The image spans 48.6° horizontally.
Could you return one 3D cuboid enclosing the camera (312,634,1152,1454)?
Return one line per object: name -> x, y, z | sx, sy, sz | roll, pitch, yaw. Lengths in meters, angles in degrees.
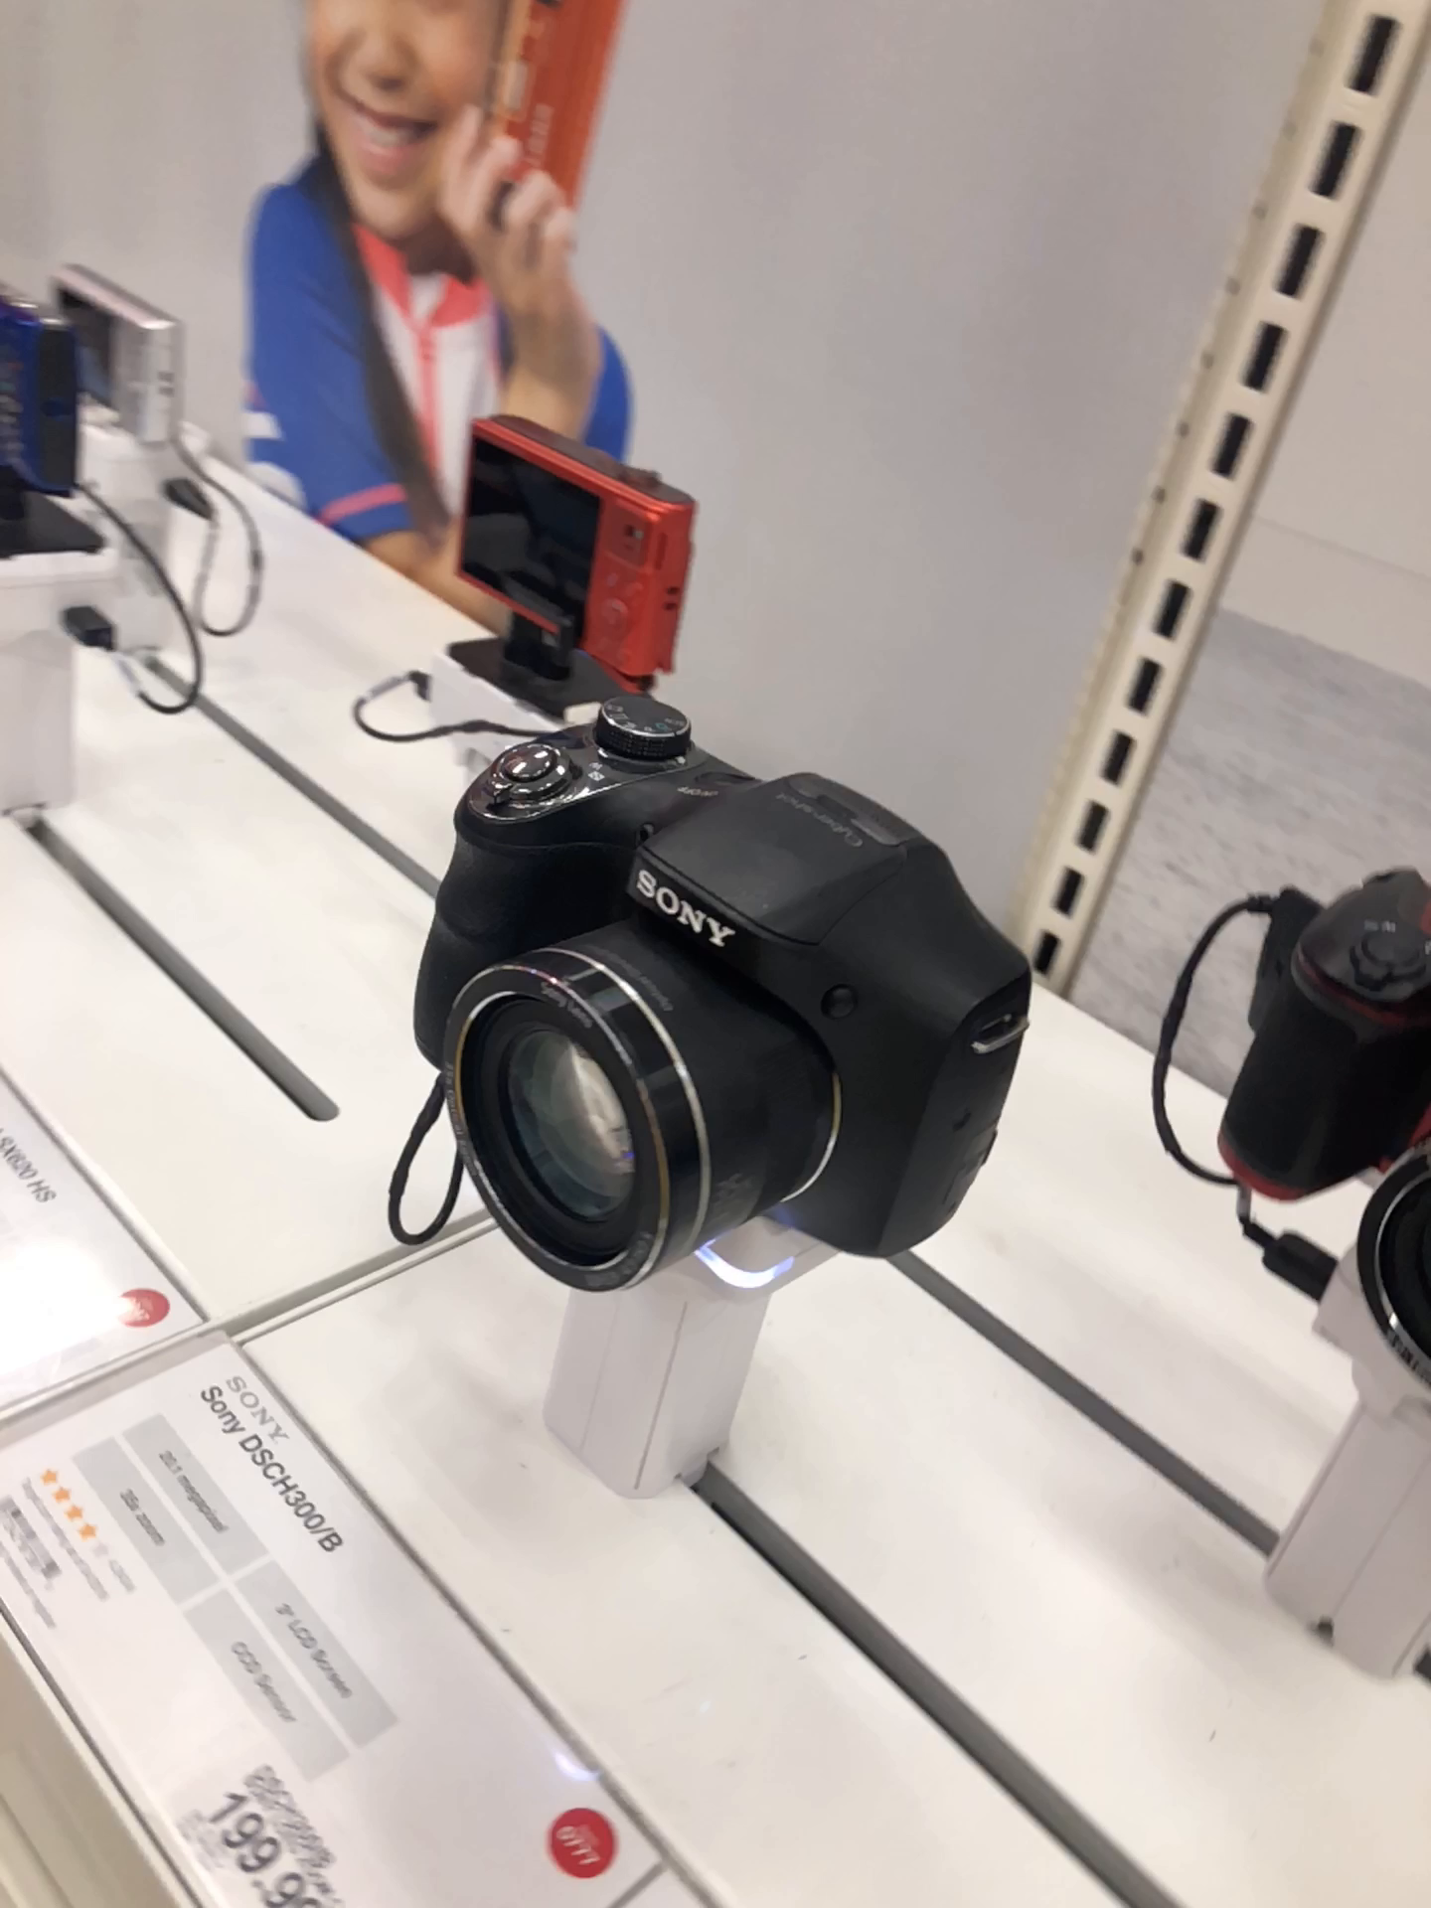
camera -> -0.004, 0.007, 0.321 | 0.090, 0.090, 0.130 | -19, 43, -42
